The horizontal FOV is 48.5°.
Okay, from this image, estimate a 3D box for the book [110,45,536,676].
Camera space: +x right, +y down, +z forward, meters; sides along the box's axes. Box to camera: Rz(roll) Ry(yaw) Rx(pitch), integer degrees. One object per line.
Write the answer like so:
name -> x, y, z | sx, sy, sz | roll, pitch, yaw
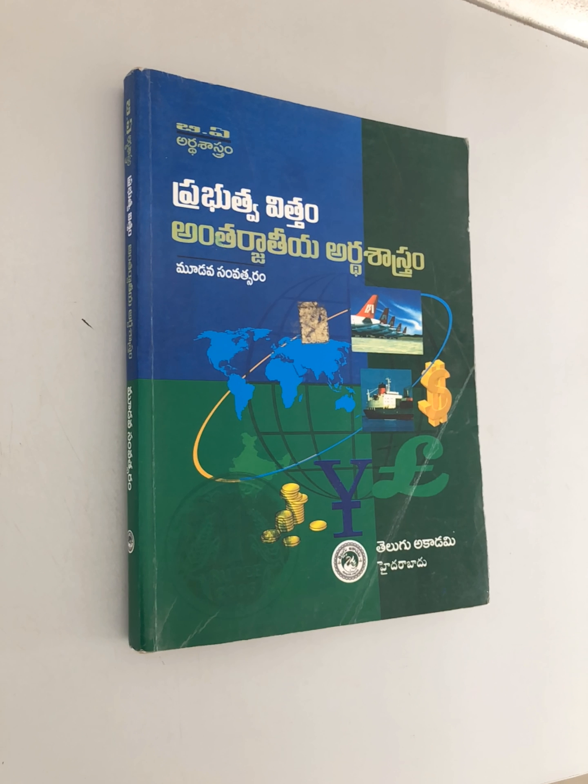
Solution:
book -> 0.016, -0.014, 0.309 | 0.190, 0.050, 0.240 | 1, 84, -25
